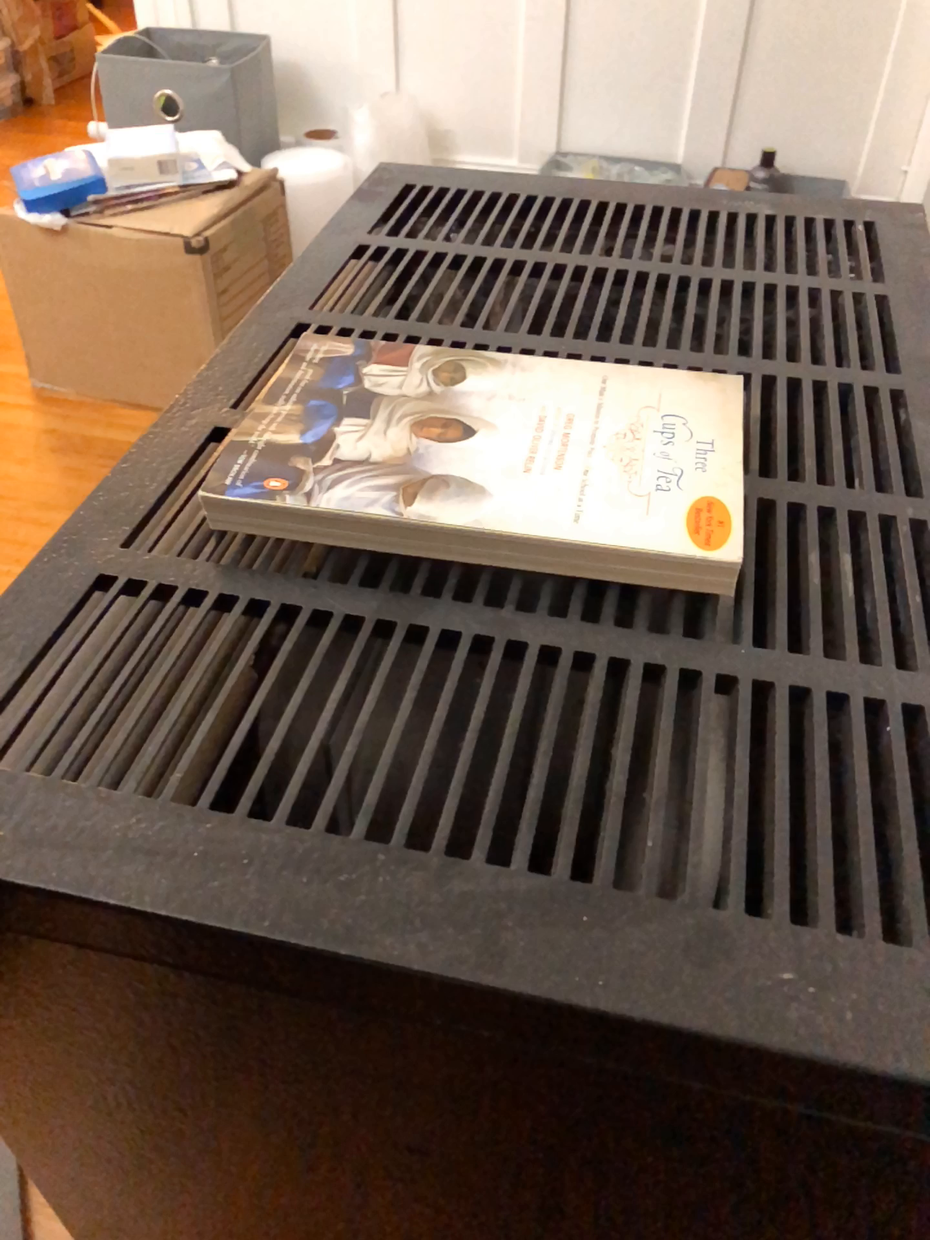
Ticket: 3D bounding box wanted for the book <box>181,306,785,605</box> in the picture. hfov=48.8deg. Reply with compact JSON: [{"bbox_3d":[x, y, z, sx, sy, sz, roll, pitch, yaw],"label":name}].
[{"bbox_3d":[0.015,-0.077,0.430,0.220,0.030,0.141,8,42,7],"label":"book"}]
